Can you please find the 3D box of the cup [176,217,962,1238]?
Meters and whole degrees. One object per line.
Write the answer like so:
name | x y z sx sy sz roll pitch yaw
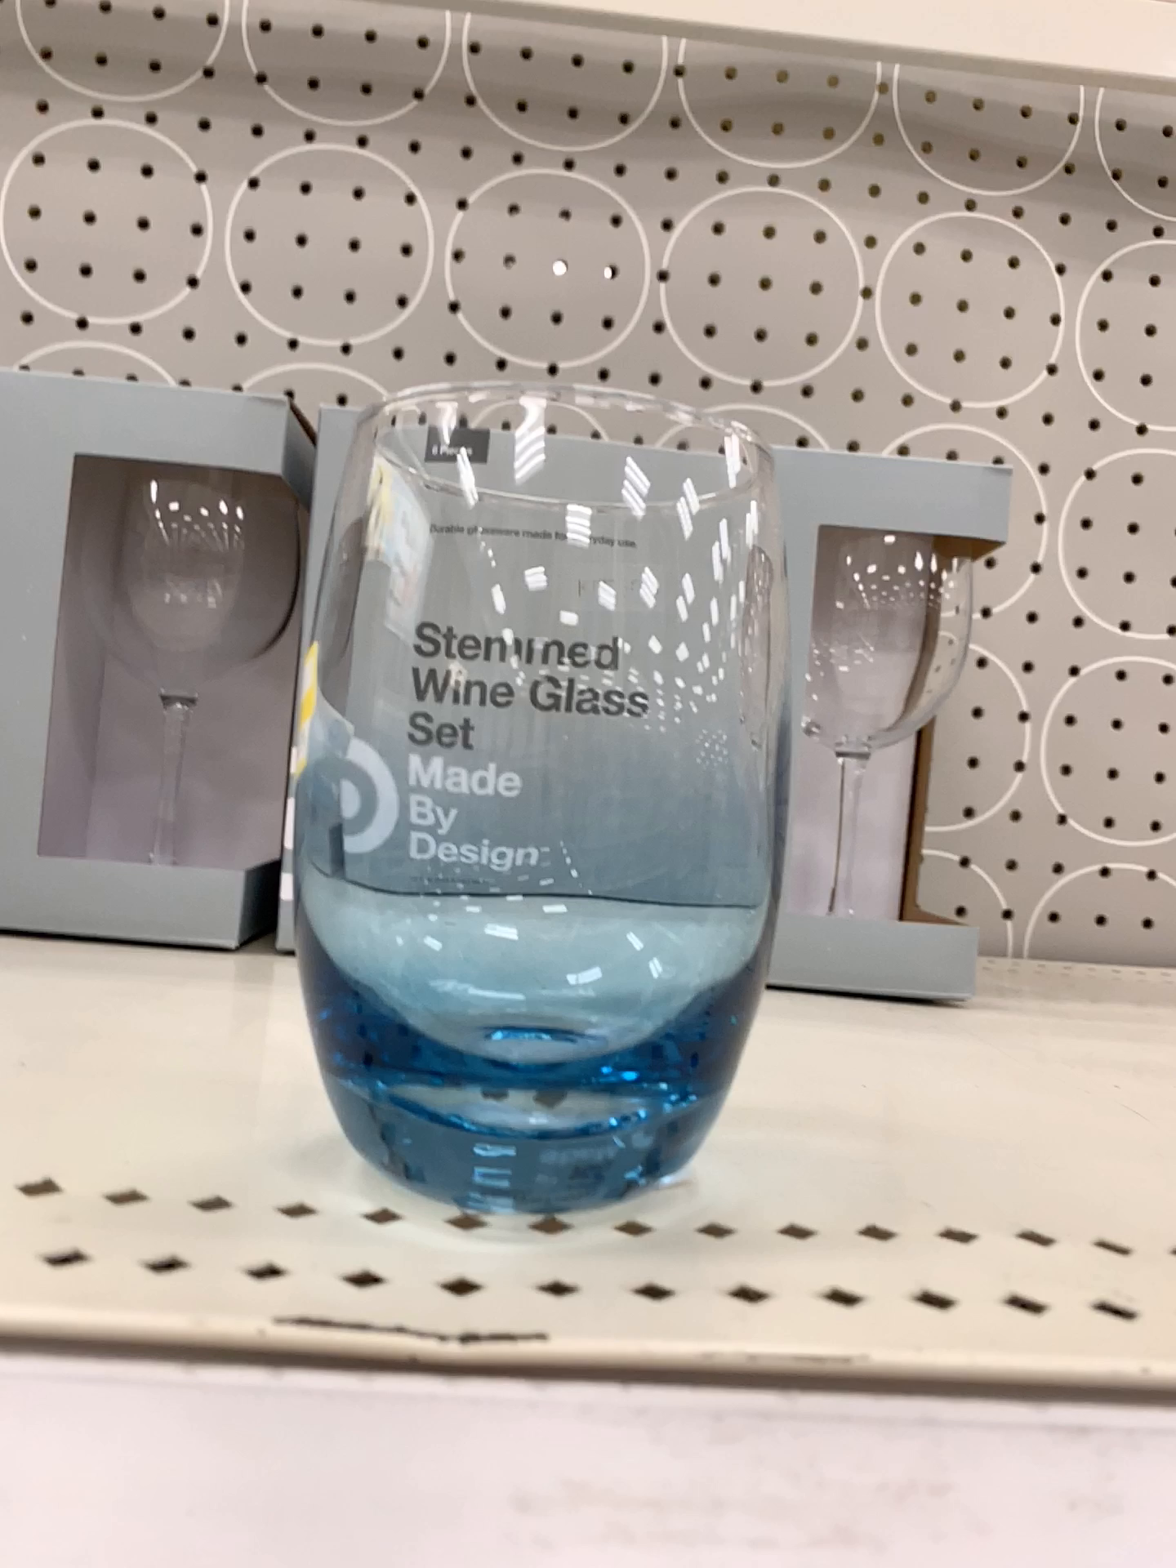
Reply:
cup | -0.009 -0.007 0.204 0.090 0.120 0.090 5 1 0
